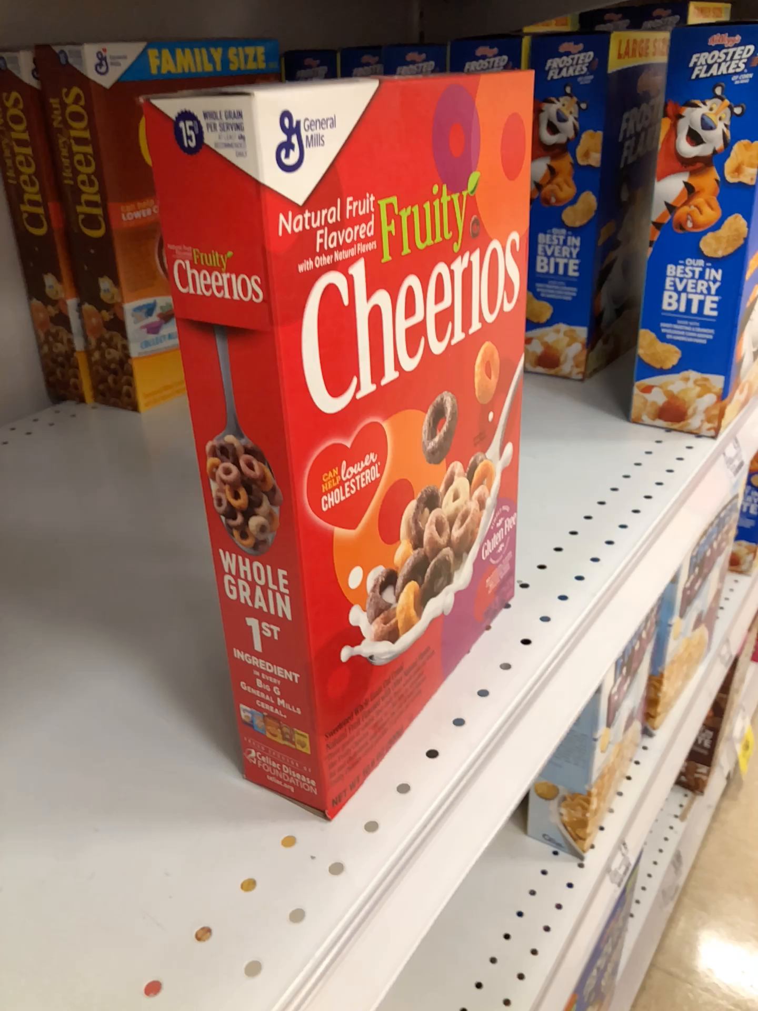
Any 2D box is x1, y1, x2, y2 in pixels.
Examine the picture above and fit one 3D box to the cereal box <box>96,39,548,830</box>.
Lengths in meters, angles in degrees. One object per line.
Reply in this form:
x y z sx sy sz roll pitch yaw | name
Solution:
0.001 -0.040 0.374 0.060 0.289 0.200 15 33 29 | cereal box
